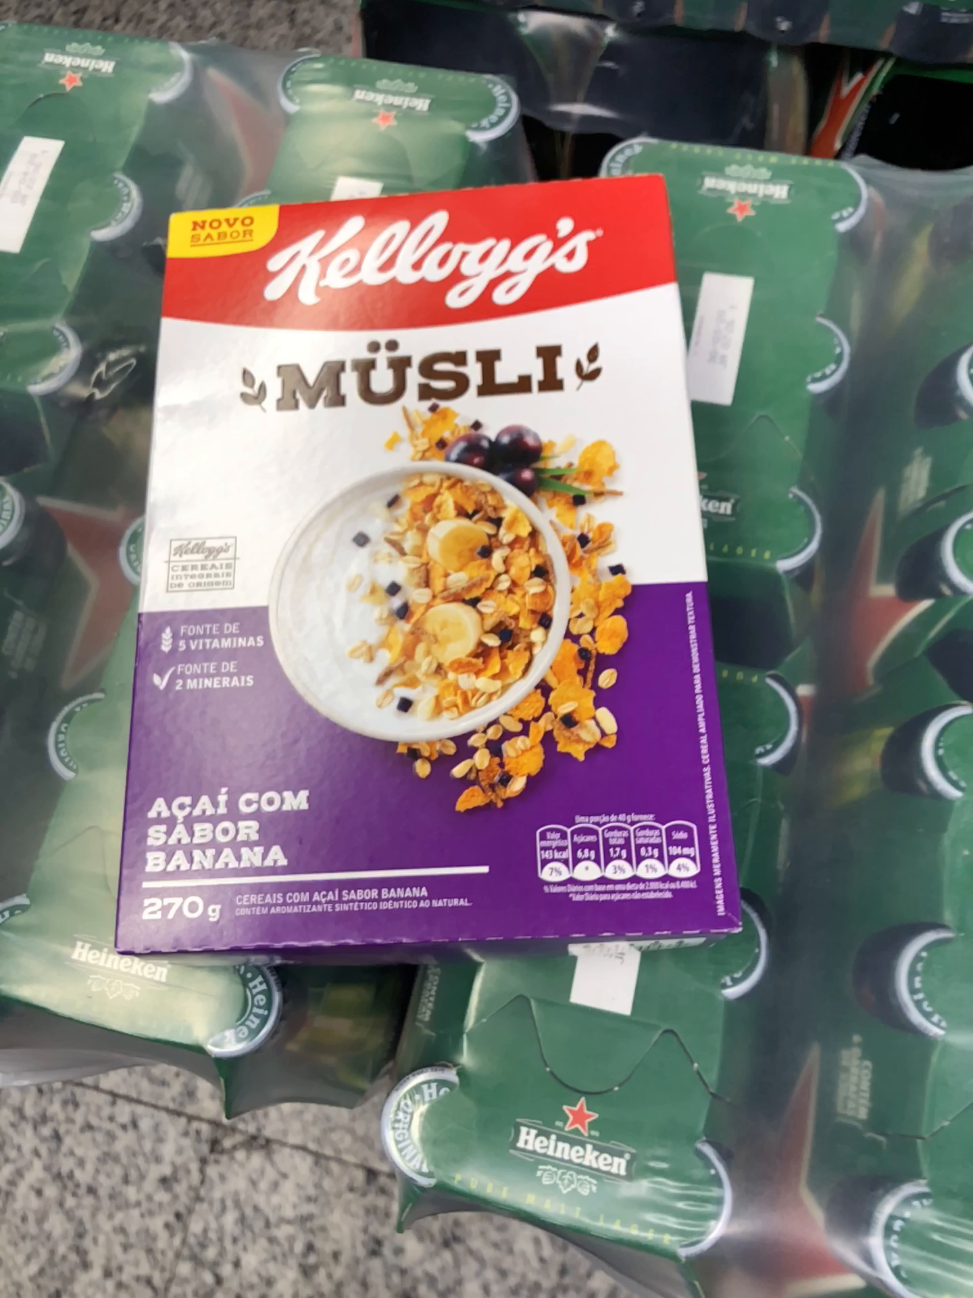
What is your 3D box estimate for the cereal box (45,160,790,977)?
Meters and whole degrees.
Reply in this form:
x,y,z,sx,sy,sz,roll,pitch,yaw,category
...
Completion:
x,y,z,sx,sy,sz,roll,pitch,yaw,category
-0.017,-0.022,0.266,0.150,0.040,0.190,-3,71,4,cereal box
